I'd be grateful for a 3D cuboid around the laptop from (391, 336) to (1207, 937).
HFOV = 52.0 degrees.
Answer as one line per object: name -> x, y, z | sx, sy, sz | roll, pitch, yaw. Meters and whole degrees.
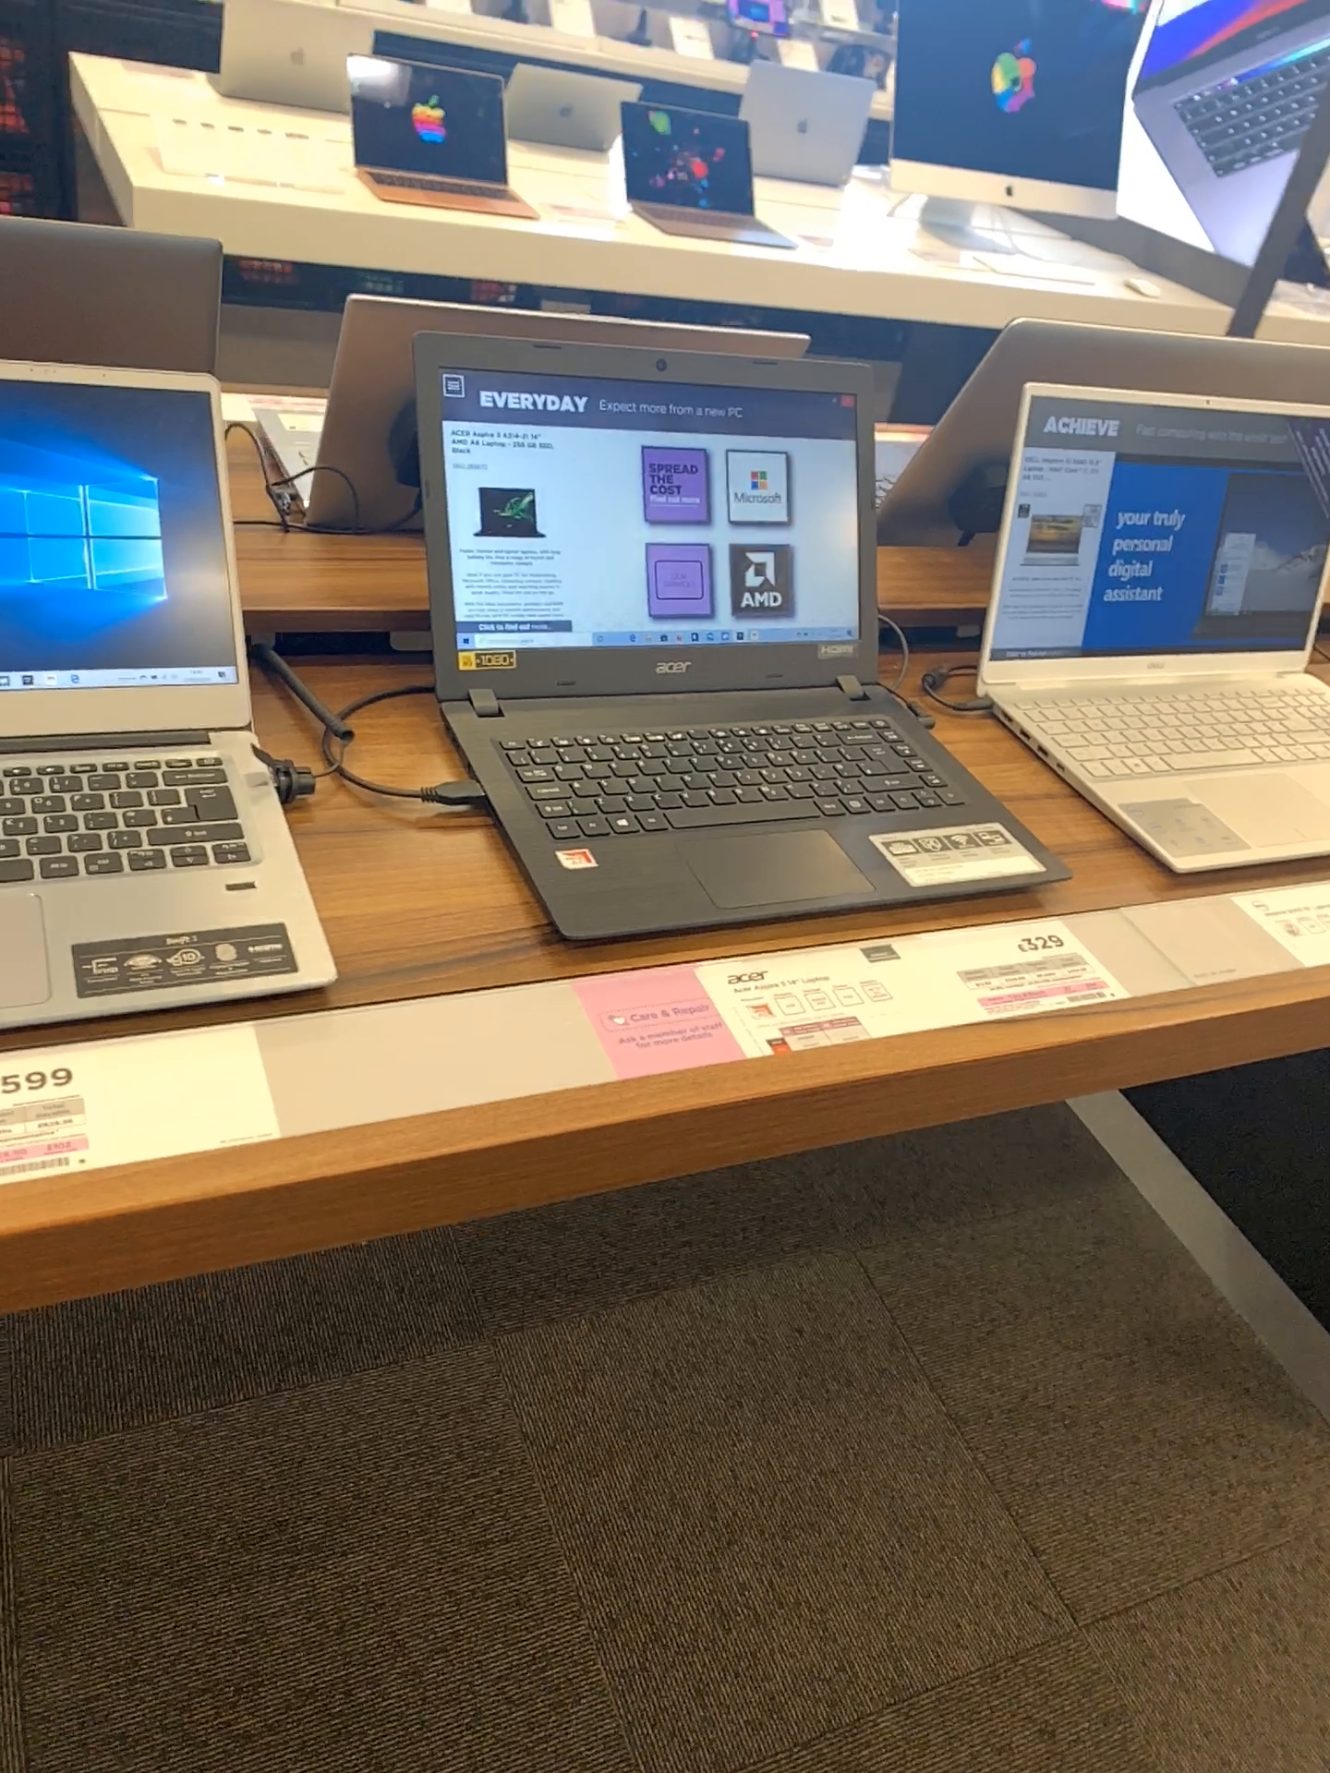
laptop -> 0.048, -0.169, 0.829 | 0.325, 0.193, 0.357 | -6, 38, -25
